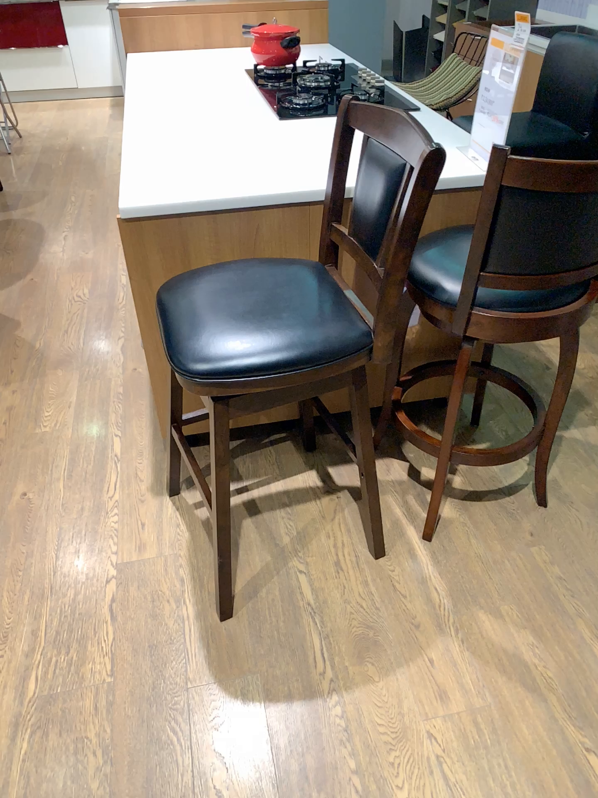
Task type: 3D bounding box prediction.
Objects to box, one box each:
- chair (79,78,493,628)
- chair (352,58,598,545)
[{"bbox_3d":[-0.057,-0.102,1.420,0.570,1.026,0.582,-16,40,-18],"label":"chair"},{"bbox_3d":[0.510,-0.236,1.569,0.550,1.026,0.572,-10,39,-11],"label":"chair"}]
